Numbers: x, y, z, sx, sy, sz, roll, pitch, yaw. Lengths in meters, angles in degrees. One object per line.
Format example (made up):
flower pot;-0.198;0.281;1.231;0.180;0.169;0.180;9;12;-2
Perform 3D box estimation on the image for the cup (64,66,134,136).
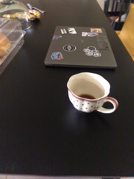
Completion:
cup;0.066;0.018;0.328;0.090;0.069;0.120;-26;48;-28
